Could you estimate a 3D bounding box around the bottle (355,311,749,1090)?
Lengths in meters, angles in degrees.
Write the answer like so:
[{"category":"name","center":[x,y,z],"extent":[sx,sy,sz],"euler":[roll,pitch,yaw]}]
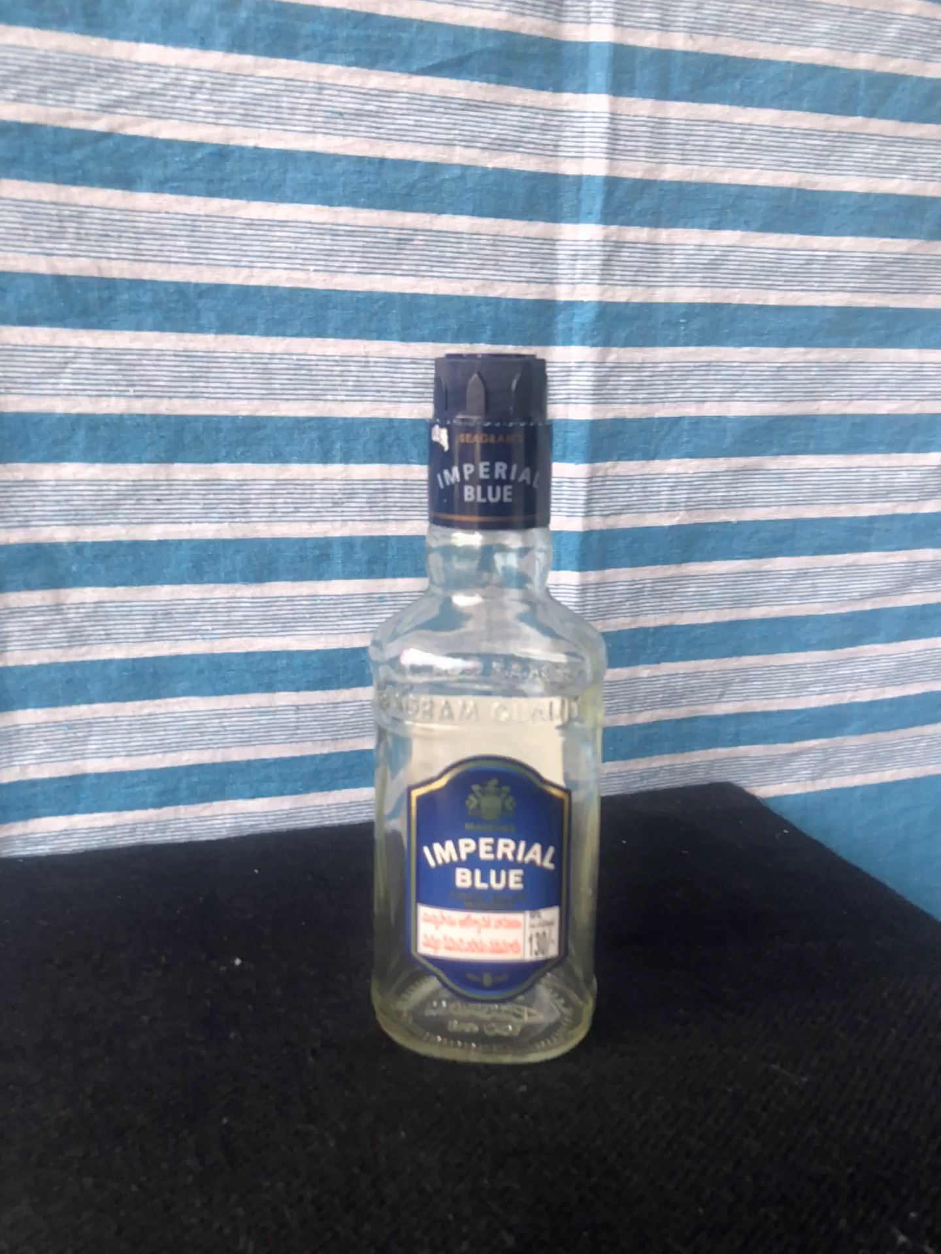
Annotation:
[{"category":"bottle","center":[0.014,0.017,0.245],"extent":[0.070,0.169,0.050],"euler":[4,14,1]}]
